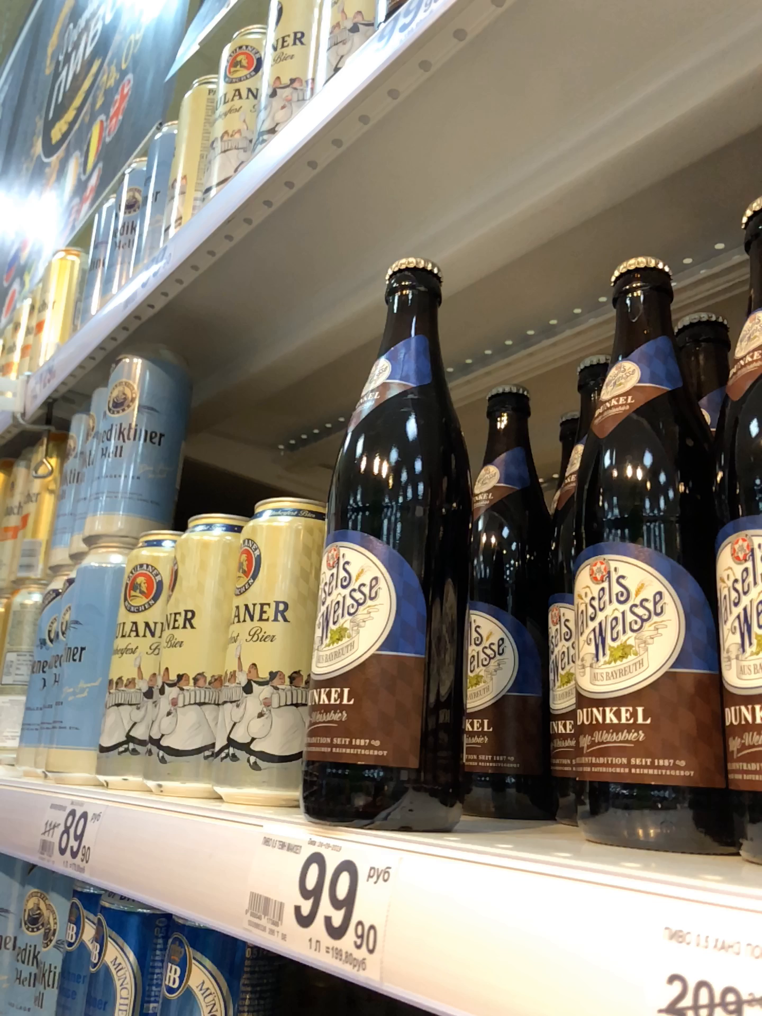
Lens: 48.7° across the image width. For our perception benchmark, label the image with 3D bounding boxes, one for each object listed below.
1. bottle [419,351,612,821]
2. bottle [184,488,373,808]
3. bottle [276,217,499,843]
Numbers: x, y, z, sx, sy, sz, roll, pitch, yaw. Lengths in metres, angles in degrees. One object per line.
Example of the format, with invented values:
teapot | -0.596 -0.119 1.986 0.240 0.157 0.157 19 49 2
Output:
bottle | 0.081 0.046 0.513 0.082 0.263 0.070 11 -19 -24
bottle | -0.057 0.083 0.491 0.067 0.168 0.069 3 -17 1
bottle | 0.006 0.007 0.384 0.066 0.264 0.065 3 -17 1
